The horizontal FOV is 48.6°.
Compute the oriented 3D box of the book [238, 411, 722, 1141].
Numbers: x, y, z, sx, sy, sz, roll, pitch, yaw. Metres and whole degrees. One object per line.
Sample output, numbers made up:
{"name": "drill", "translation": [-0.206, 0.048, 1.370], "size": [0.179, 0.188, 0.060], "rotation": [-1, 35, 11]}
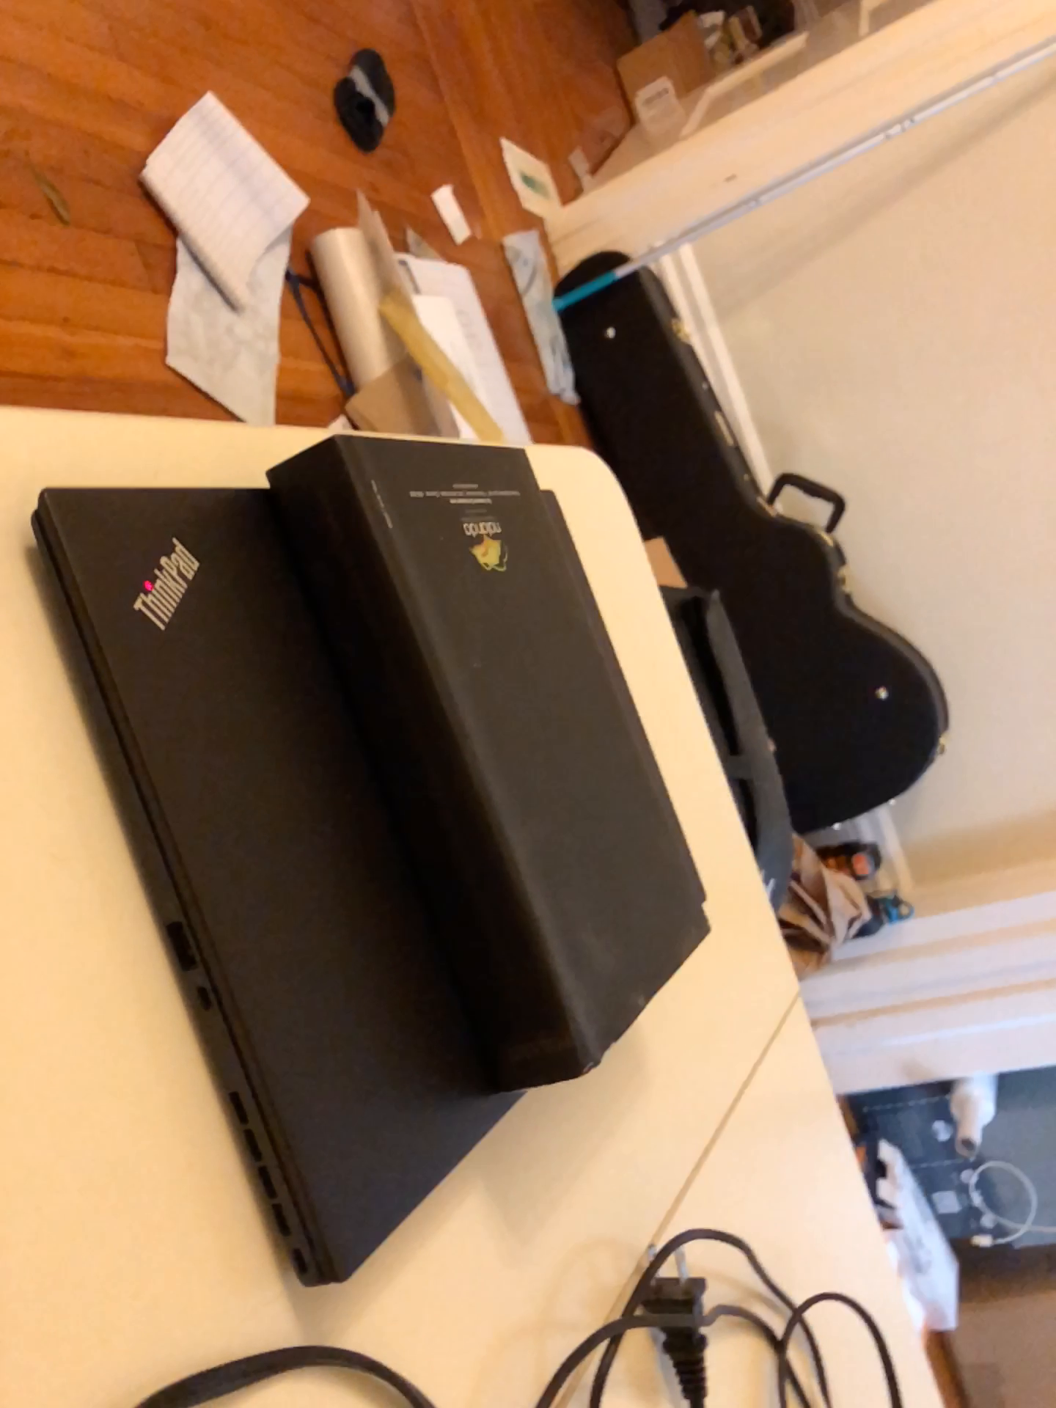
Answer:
{"name": "book", "translation": [-0.005, 0.013, 0.431], "size": [0.151, 0.040, 0.230], "rotation": [-21, 92, -63]}
